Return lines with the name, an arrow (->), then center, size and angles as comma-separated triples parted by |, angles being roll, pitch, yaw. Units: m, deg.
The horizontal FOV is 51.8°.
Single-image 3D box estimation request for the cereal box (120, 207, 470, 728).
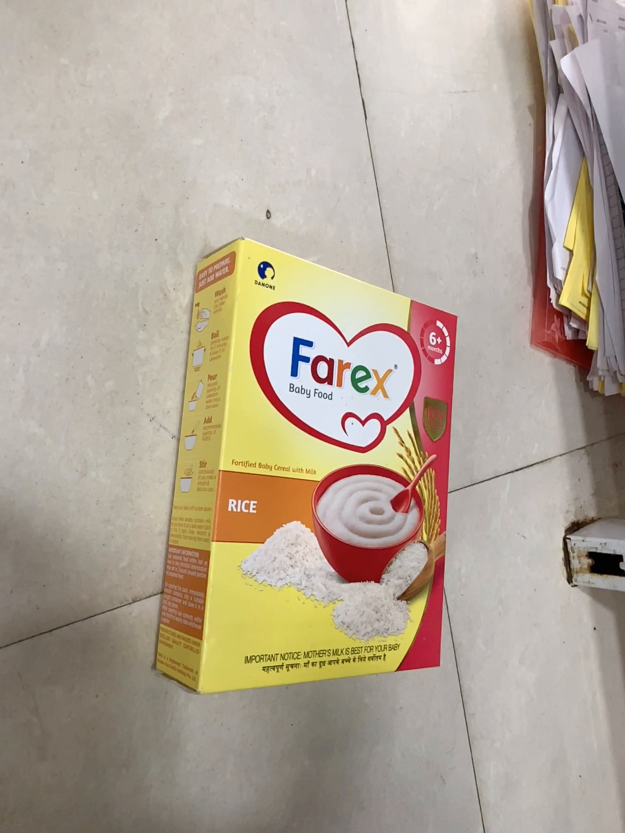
cereal box -> 0.002, 0.028, 0.330 | 0.161, 0.060, 0.210 | 11, 79, -36
